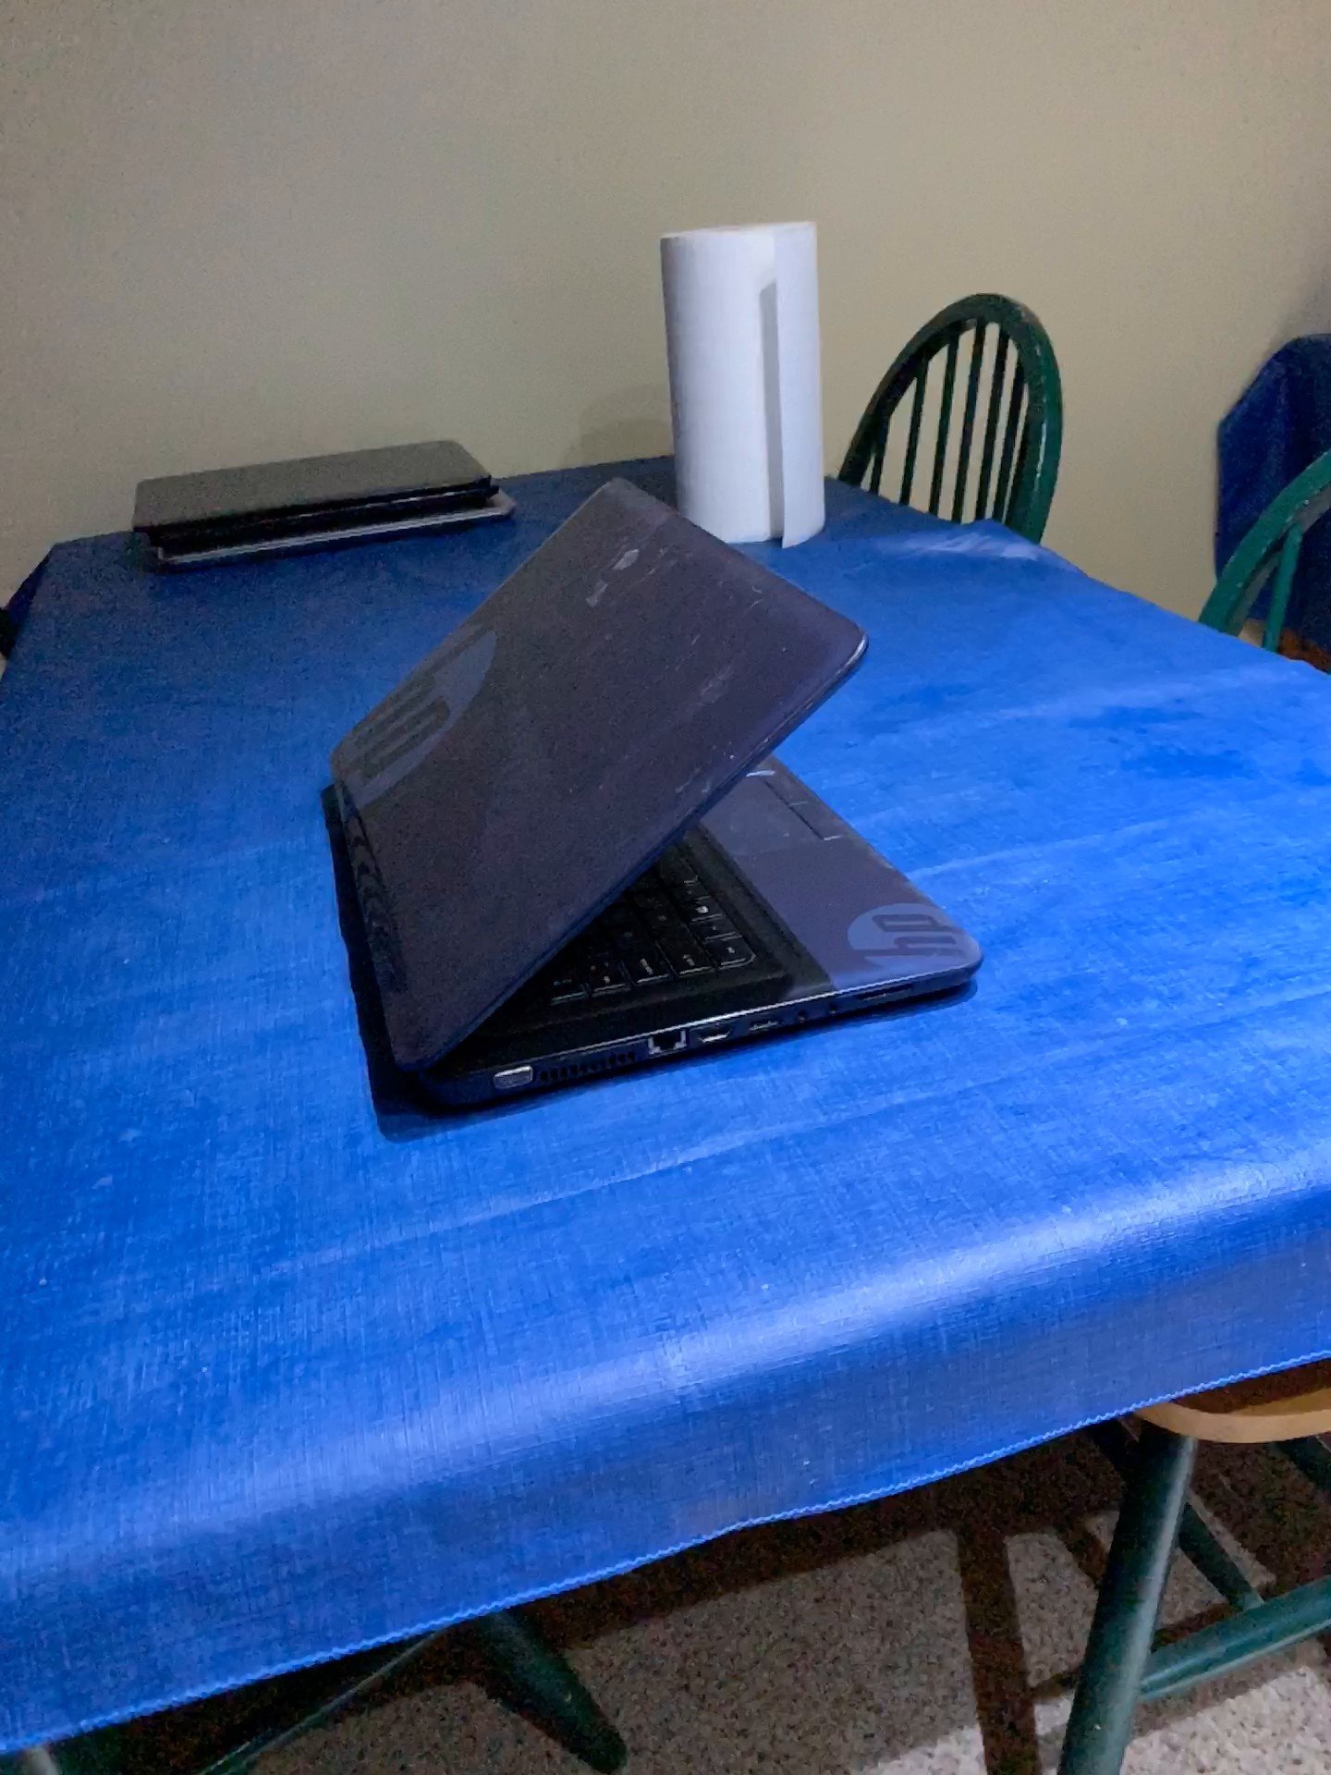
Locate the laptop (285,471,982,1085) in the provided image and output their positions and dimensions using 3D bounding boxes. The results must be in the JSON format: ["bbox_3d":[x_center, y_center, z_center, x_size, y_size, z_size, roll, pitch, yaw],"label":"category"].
[{"bbox_3d":[-0.041,-0.089,0.669,0.239,0.141,0.365,-11,28,-14],"label":"laptop"}]
